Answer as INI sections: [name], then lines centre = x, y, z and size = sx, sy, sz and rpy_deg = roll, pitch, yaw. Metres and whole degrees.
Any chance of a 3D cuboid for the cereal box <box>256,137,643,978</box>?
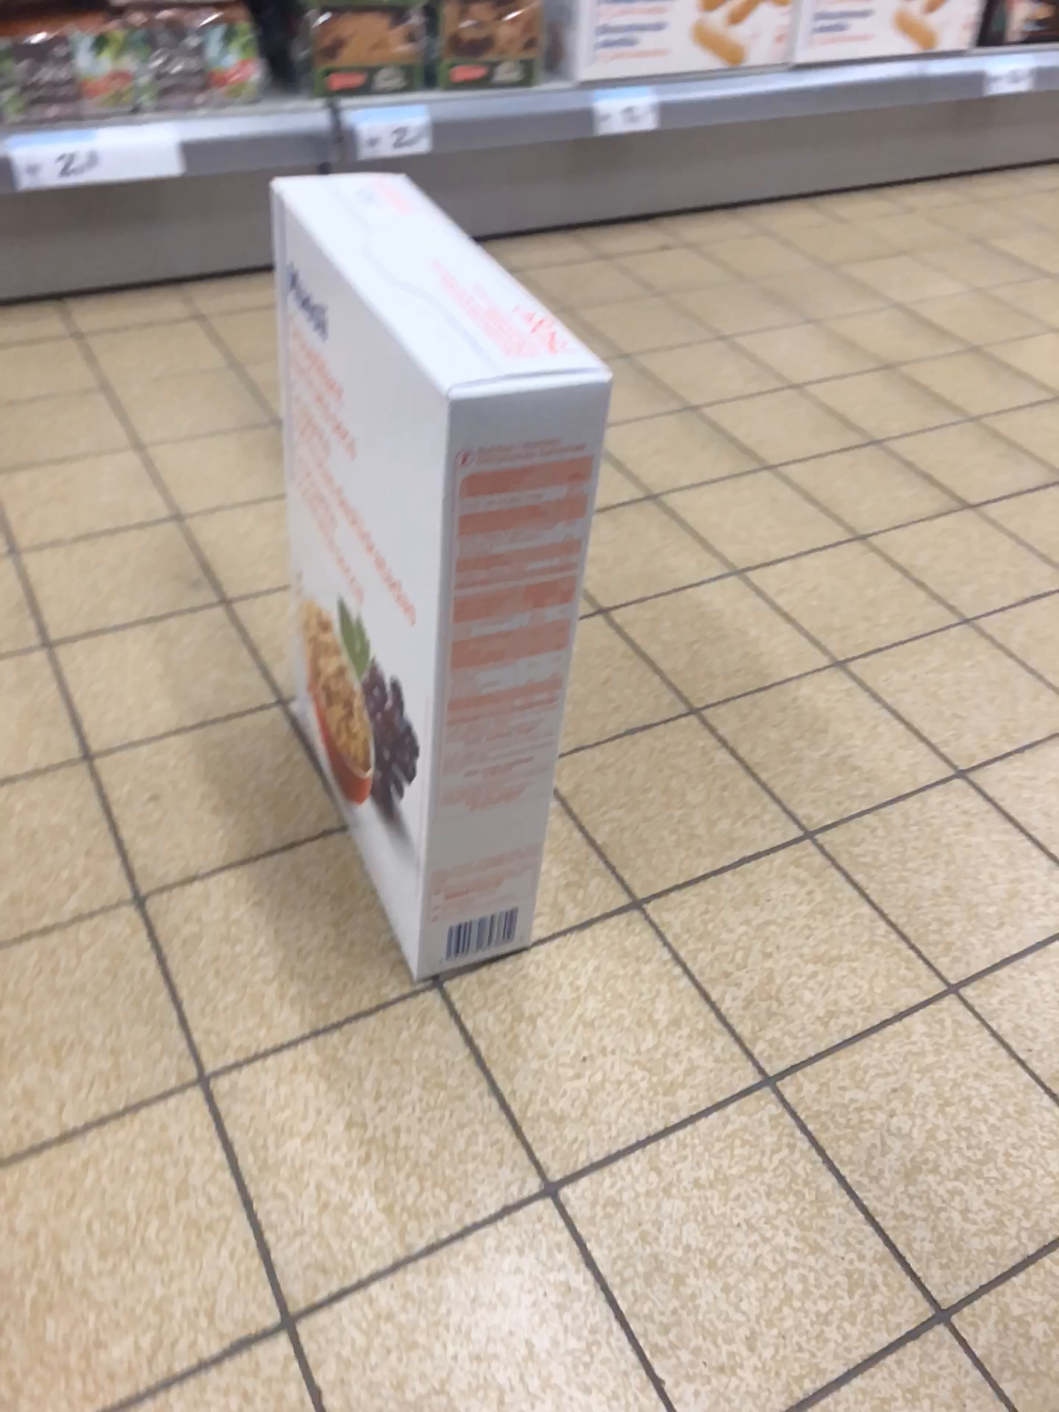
[cereal box]
centre = -0.047, -0.058, 0.474
size = 0.060, 0.268, 0.201
rpy_deg = -13, 43, -22
